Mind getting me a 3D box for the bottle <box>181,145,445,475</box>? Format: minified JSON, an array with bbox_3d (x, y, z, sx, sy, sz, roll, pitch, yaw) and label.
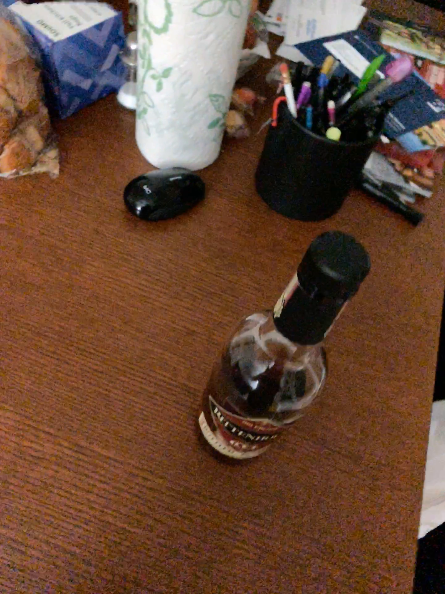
[{"bbox_3d":[0.037,0.046,0.330,0.090,0.289,0.090,5,58,-9],"label":"bottle"}]
